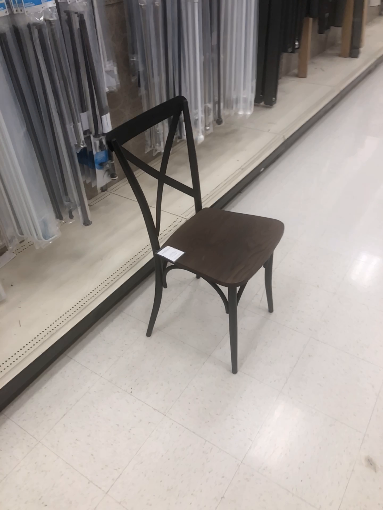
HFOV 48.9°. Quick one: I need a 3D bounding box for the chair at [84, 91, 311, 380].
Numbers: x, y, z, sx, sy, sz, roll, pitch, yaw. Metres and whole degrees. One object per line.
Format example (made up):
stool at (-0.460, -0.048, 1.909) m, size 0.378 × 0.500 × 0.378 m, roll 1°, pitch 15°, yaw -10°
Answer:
chair at (0.042, -0.077, 1.531) m, size 0.526 × 0.811 × 0.477 m, roll 19°, pitch 43°, yaw 25°
